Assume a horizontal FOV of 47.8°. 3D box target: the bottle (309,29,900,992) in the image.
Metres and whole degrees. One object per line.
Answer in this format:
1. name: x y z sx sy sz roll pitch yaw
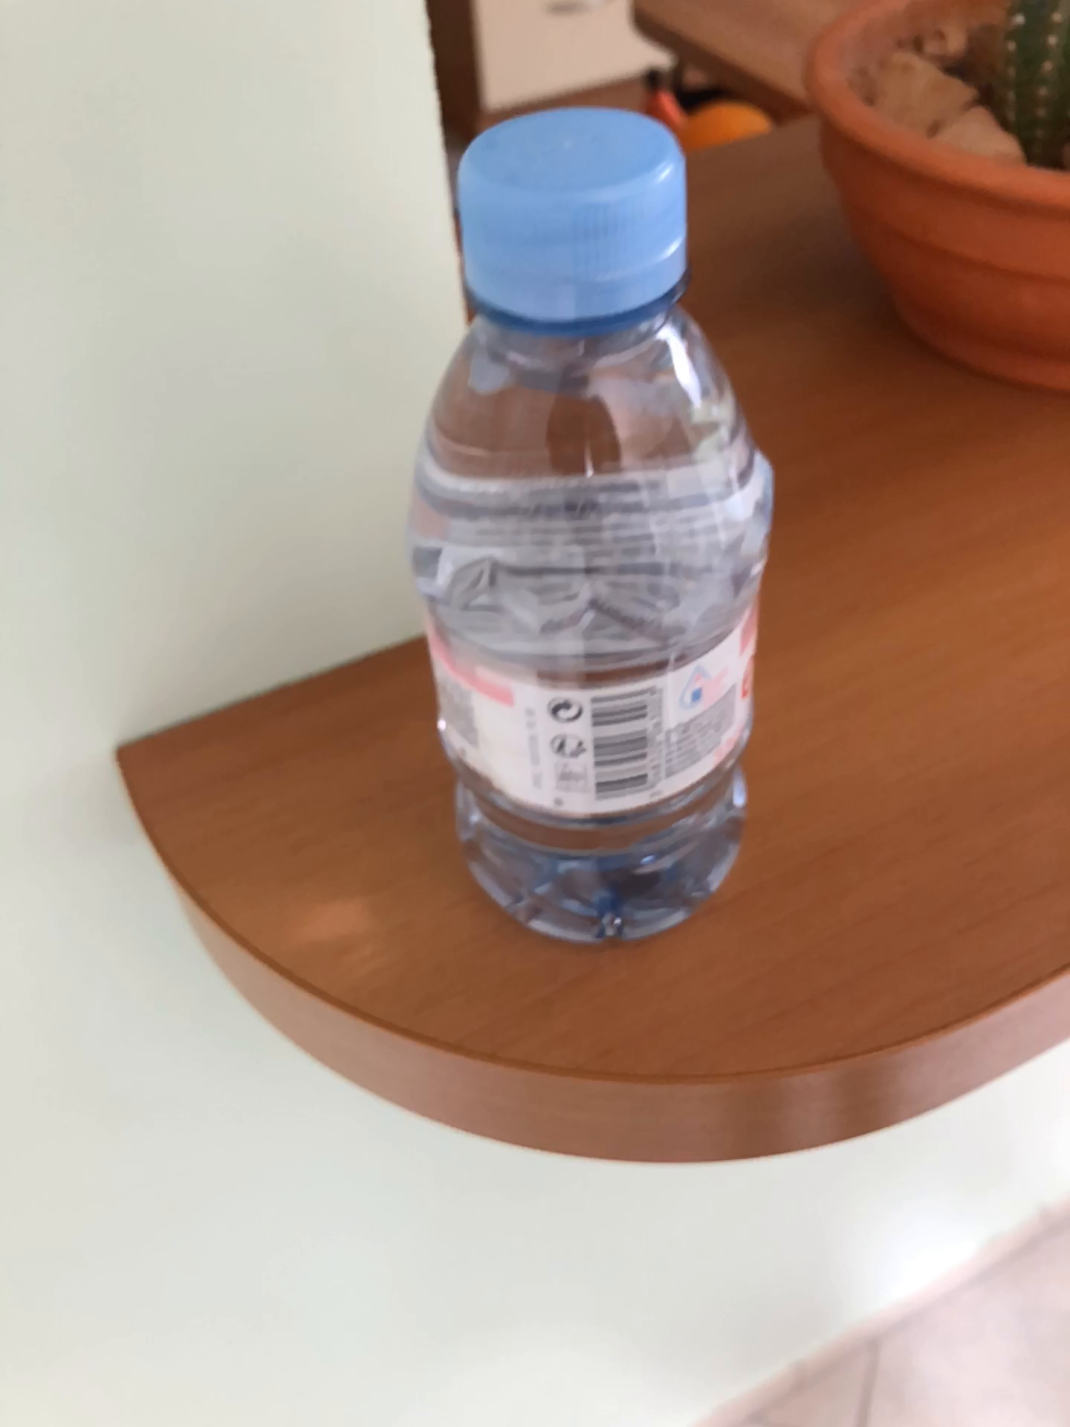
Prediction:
1. bottle: 0.011 -0.025 0.224 0.070 0.159 0.070 -3 46 3
